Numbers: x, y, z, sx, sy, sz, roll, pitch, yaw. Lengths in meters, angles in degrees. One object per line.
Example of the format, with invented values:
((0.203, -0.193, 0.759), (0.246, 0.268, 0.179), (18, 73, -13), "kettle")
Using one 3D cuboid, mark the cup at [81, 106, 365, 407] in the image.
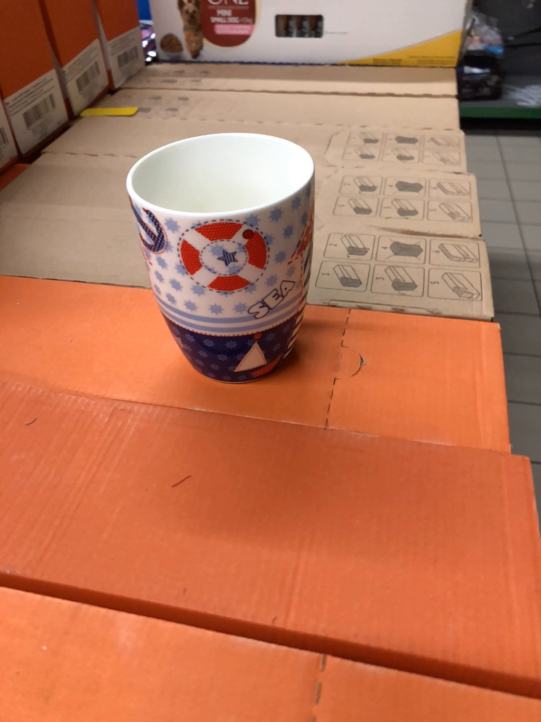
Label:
((-0.014, -0.058, 0.297), (0.086, 0.092, 0.113), (14, 42, 19), "cup")
